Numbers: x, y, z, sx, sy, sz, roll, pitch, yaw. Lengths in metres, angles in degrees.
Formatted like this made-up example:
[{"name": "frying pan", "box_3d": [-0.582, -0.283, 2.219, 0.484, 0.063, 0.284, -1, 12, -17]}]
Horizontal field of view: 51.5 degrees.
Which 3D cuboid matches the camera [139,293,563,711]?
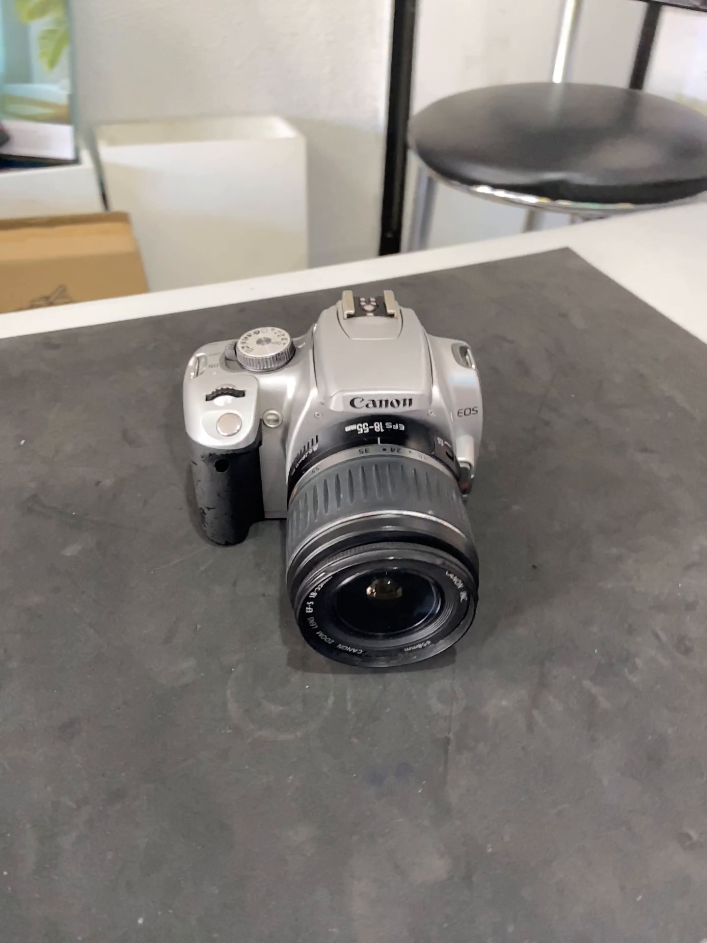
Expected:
[{"name": "camera", "box_3d": [-0.008, 0.002, 0.285, 0.120, 0.080, 0.141, -4, 40, -6]}]
